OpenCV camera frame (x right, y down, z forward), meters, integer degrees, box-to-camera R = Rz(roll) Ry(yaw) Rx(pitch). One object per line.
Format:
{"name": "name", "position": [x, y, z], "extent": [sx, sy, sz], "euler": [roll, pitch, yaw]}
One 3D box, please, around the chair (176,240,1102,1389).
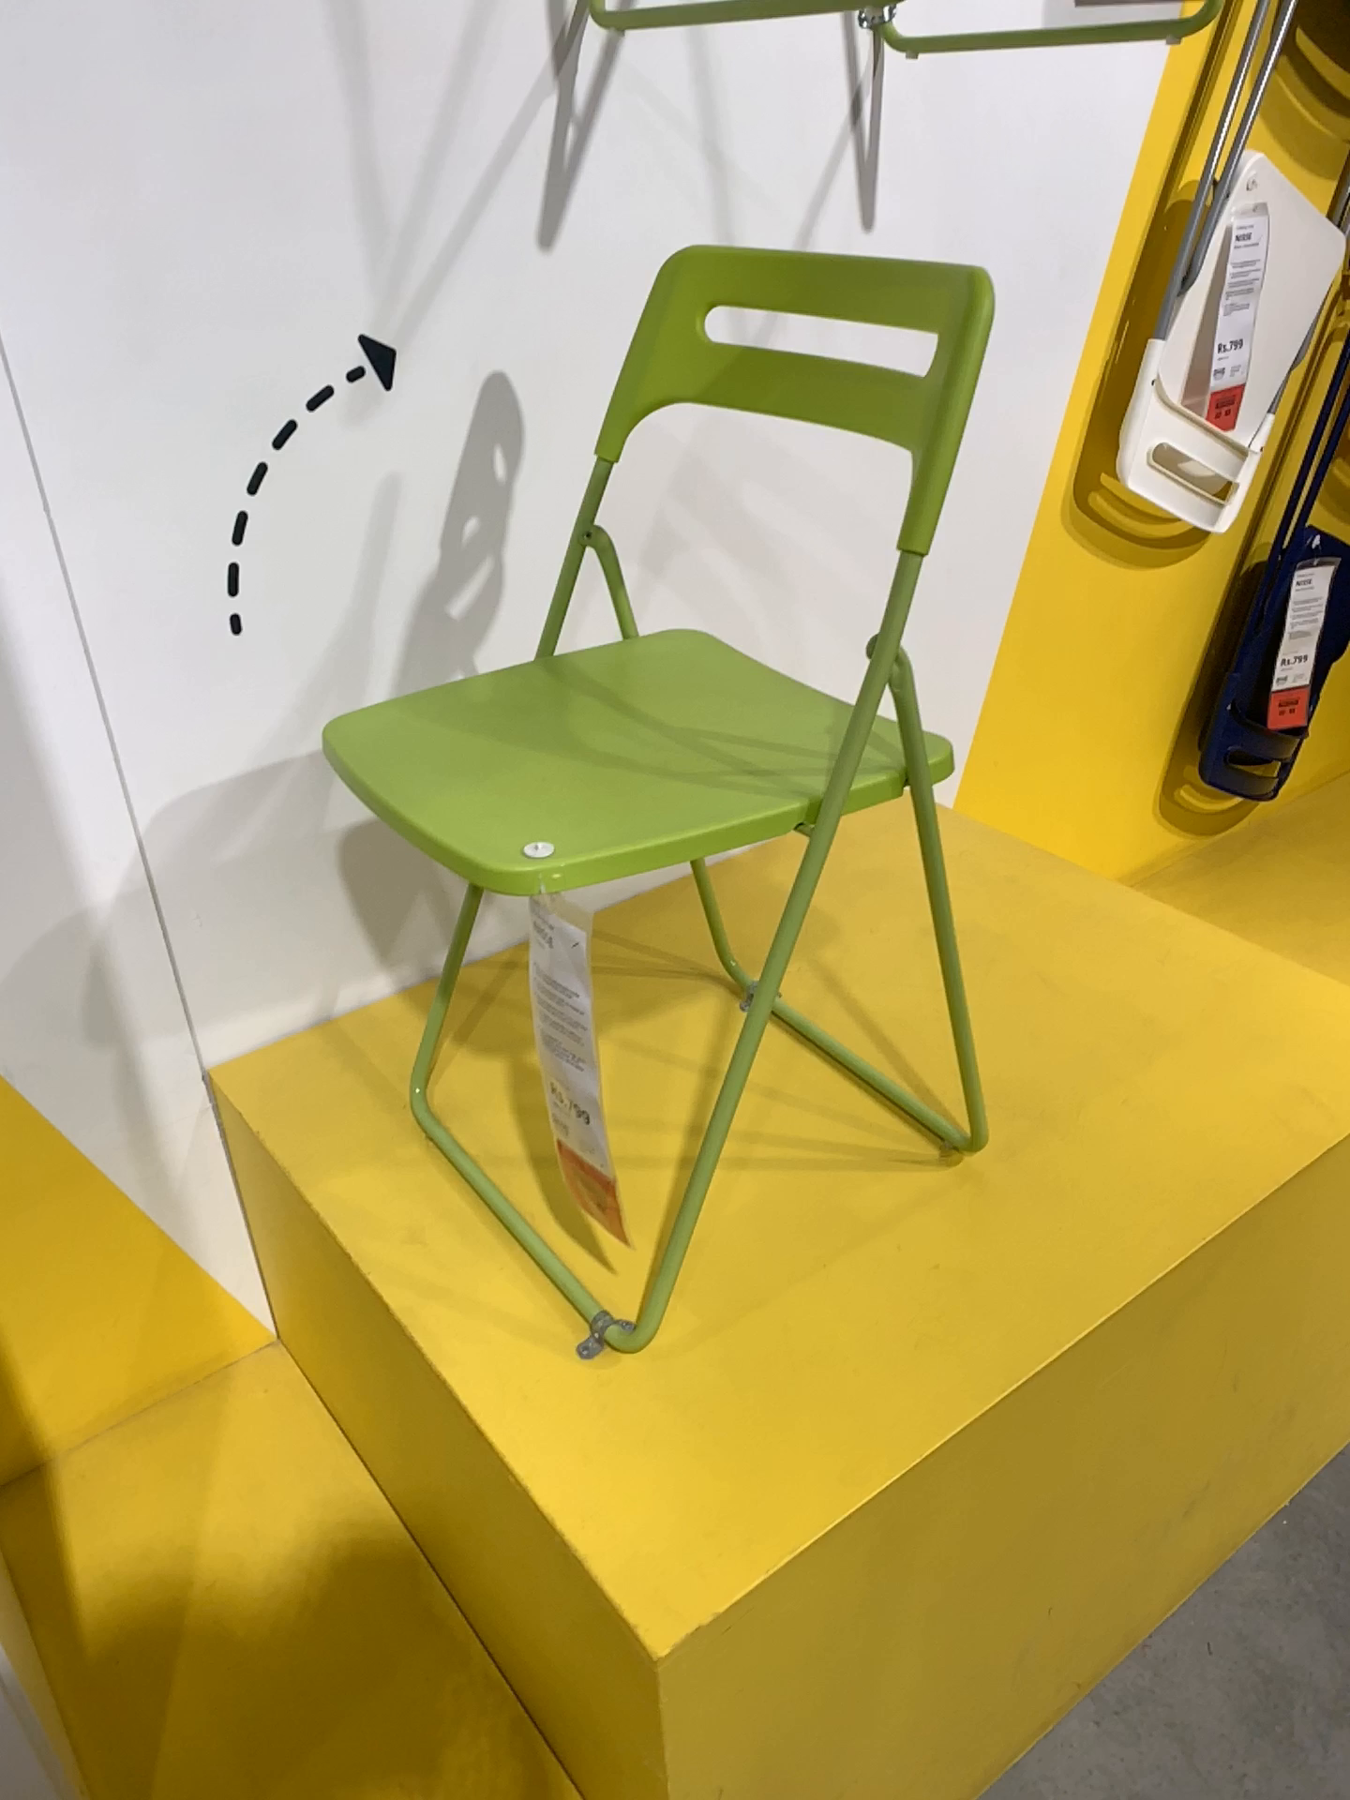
{"name": "chair", "position": [-0.024, -0.109, 1.118], "extent": [0.460, 0.717, 0.451], "euler": [-22, 35, -29]}
